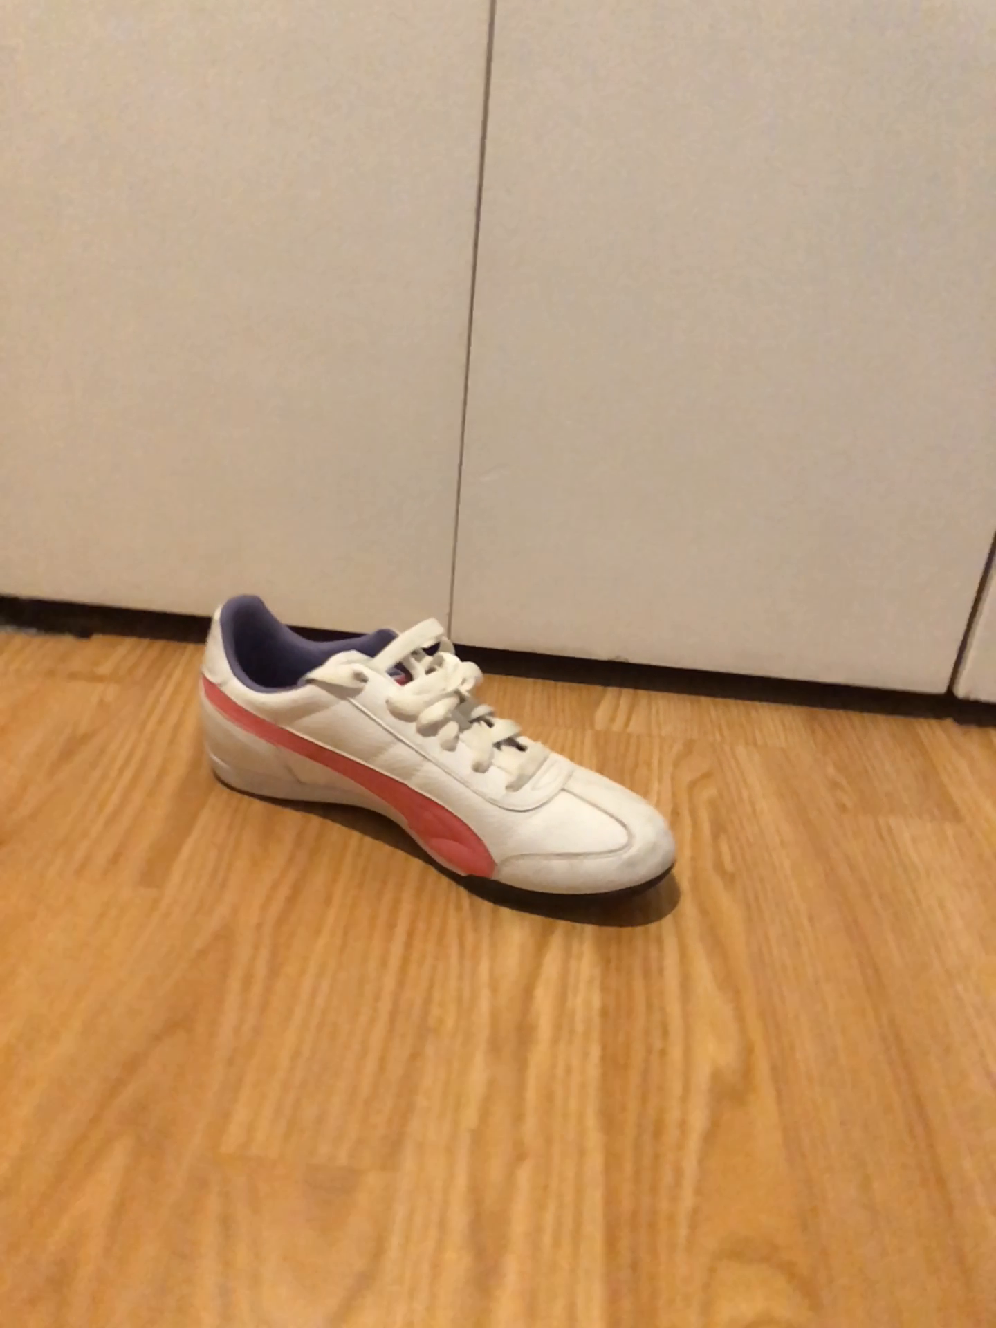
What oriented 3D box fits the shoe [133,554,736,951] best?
[{"bbox_3d":[-0.034,0.030,0.524,0.260,0.080,0.100,16,28,20],"label":"shoe"}]
